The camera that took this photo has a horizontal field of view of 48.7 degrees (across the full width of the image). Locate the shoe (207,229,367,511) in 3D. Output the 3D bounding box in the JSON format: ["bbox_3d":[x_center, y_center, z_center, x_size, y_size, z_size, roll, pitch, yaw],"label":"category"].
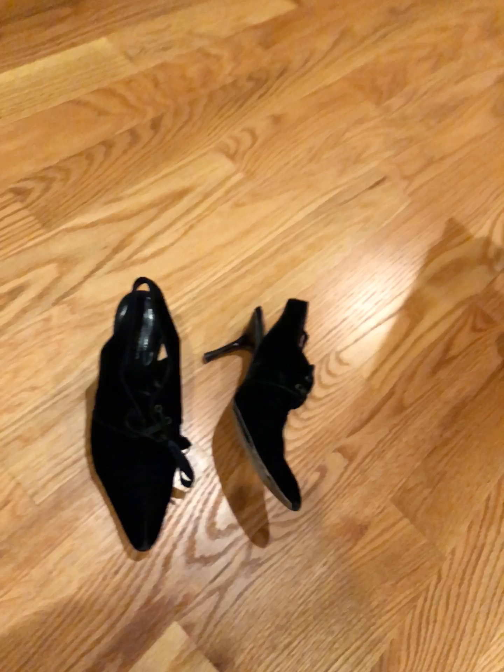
[{"bbox_3d":[0.023,0.034,0.558,0.118,0.107,0.252,5,61,-13],"label":"shoe"}]

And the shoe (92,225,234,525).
[{"bbox_3d":[-0.095,0.035,0.533,0.107,0.117,0.252,1,62,-16],"label":"shoe"}]
